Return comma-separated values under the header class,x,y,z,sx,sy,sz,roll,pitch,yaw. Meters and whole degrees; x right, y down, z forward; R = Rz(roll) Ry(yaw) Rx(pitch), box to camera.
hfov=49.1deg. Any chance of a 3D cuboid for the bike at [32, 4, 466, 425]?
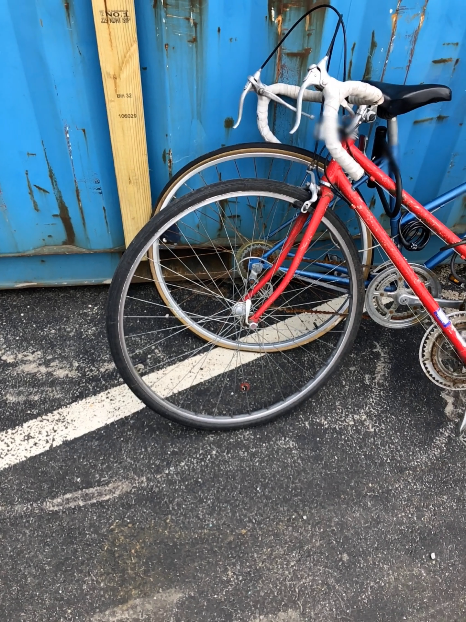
class,x,y,z,sx,sy,sz,roll,pitch,yaw
bike,0.547,-0.163,1.302,1.639,0.824,0.486,2,45,-4
